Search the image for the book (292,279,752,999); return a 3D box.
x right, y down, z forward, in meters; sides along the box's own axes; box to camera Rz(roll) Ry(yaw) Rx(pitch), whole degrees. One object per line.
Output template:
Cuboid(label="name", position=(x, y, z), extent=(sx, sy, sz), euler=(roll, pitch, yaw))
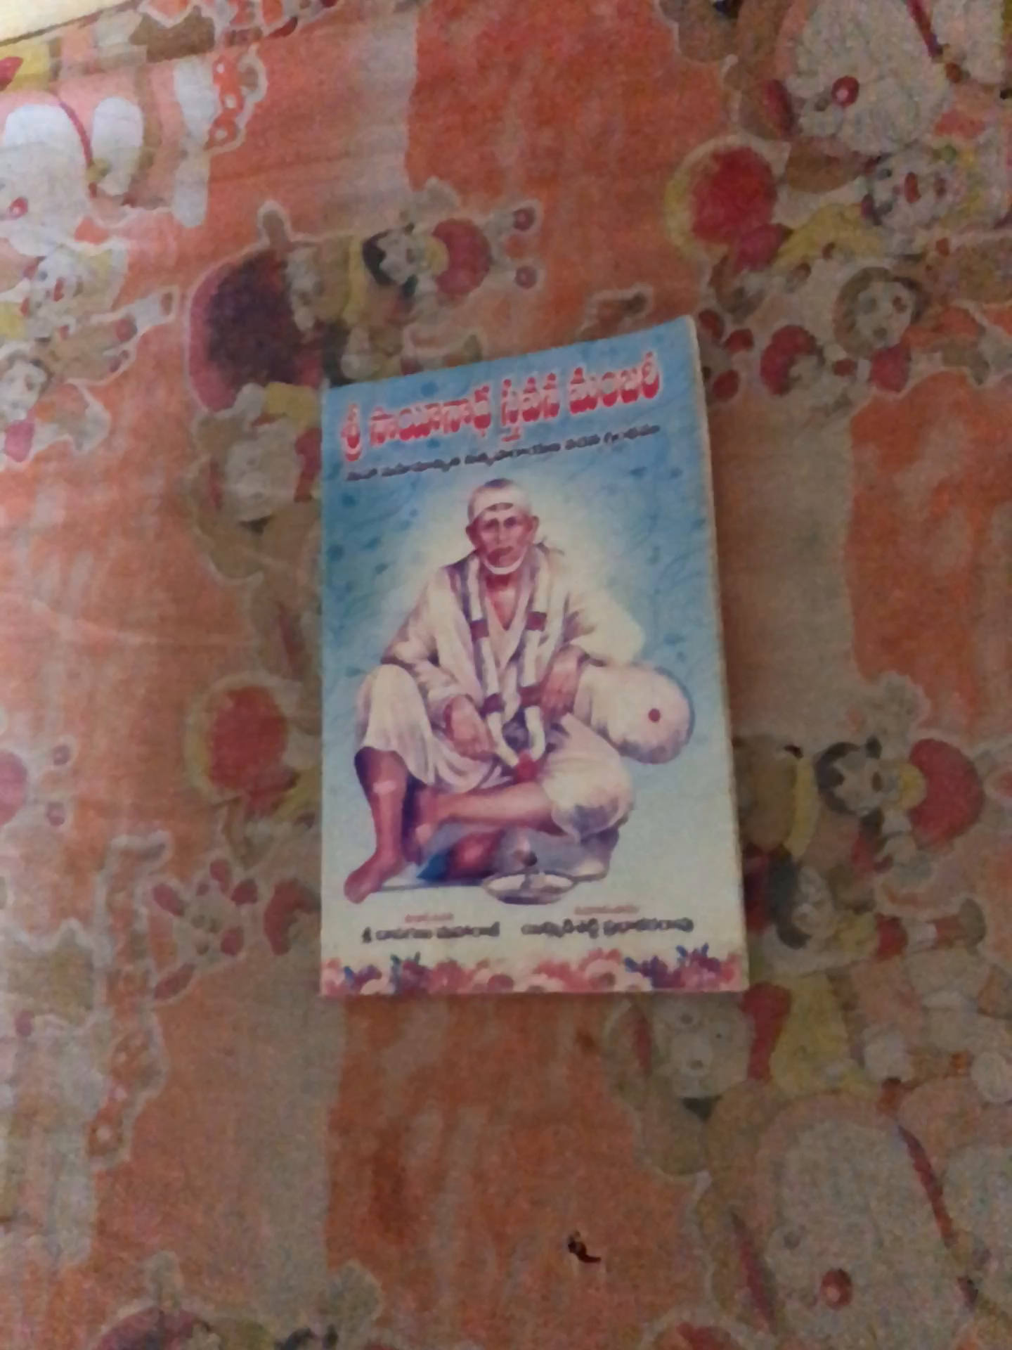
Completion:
Cuboid(label="book", position=(0.000, -0.010, 0.368), extent=(0.140, 0.020, 0.220), euler=(-5, 80, 14))
